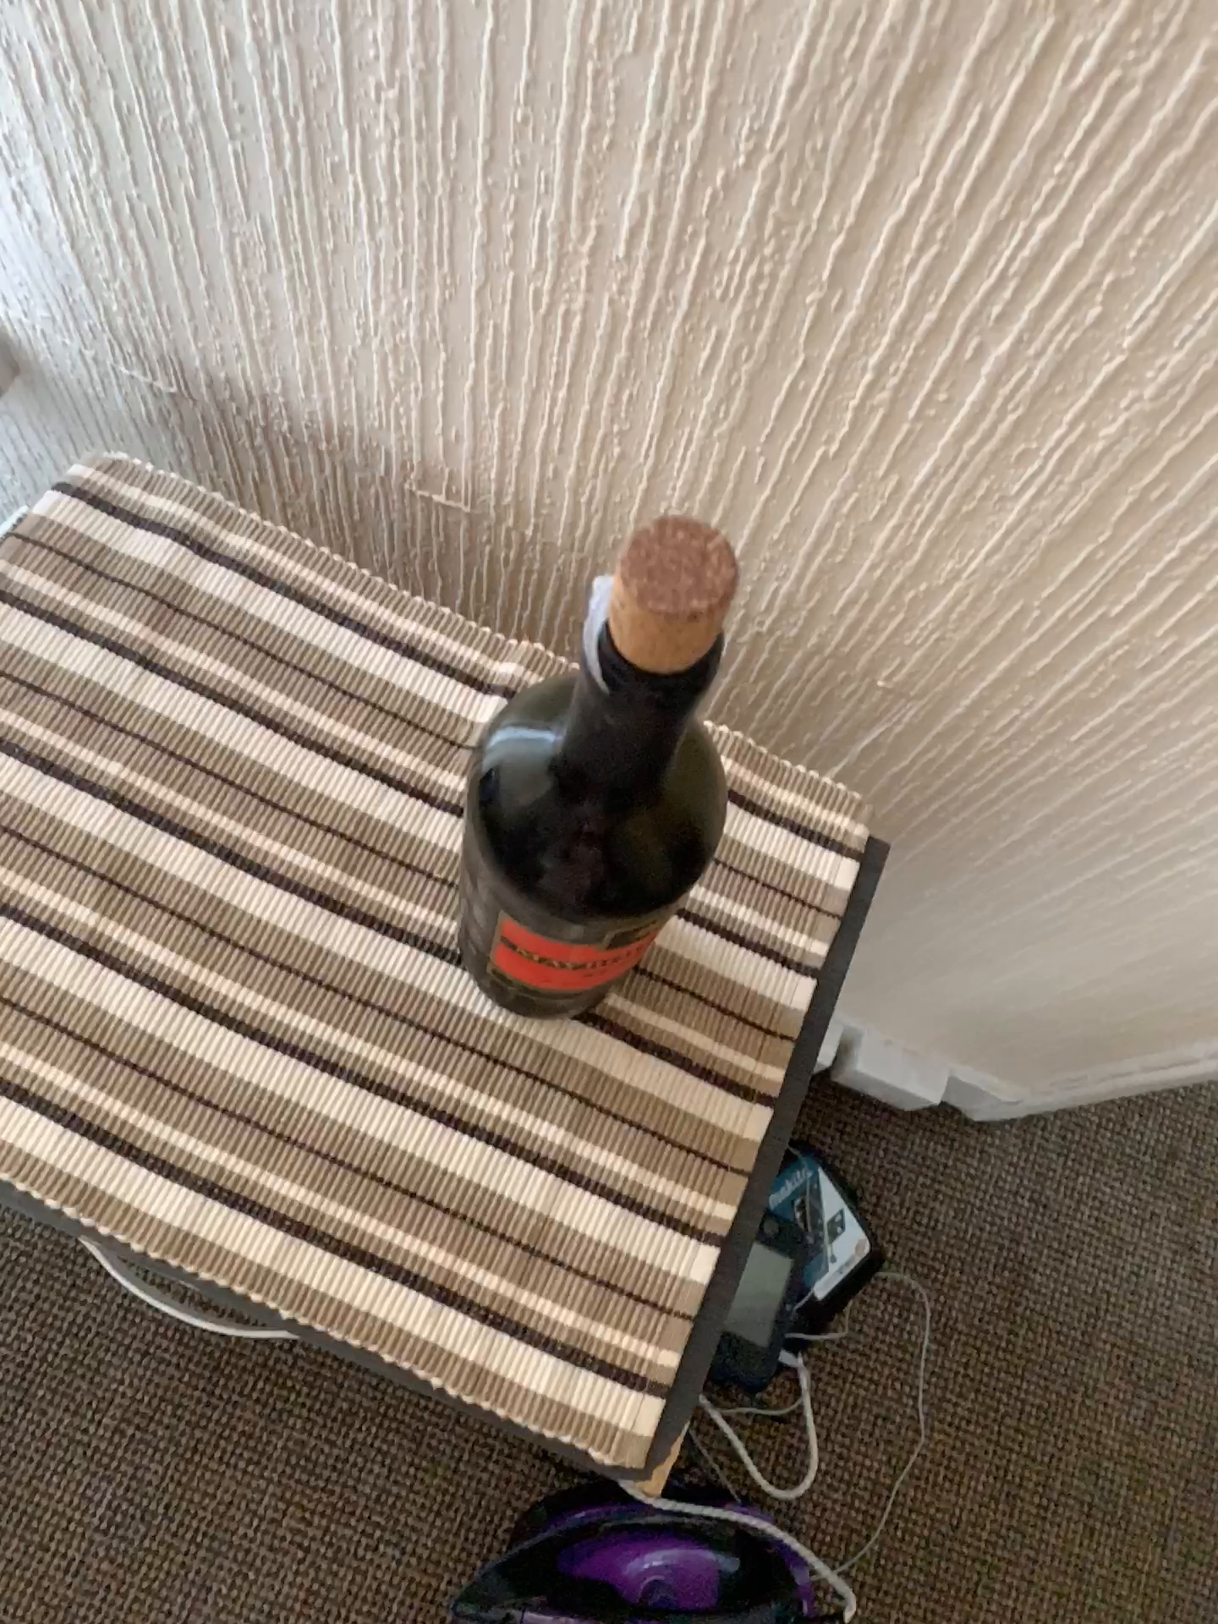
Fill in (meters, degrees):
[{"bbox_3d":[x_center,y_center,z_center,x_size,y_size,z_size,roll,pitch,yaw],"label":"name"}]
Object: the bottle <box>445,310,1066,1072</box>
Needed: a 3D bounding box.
[{"bbox_3d":[0.007,0.004,0.370,0.080,0.319,0.080,2,72,-7],"label":"bottle"}]
